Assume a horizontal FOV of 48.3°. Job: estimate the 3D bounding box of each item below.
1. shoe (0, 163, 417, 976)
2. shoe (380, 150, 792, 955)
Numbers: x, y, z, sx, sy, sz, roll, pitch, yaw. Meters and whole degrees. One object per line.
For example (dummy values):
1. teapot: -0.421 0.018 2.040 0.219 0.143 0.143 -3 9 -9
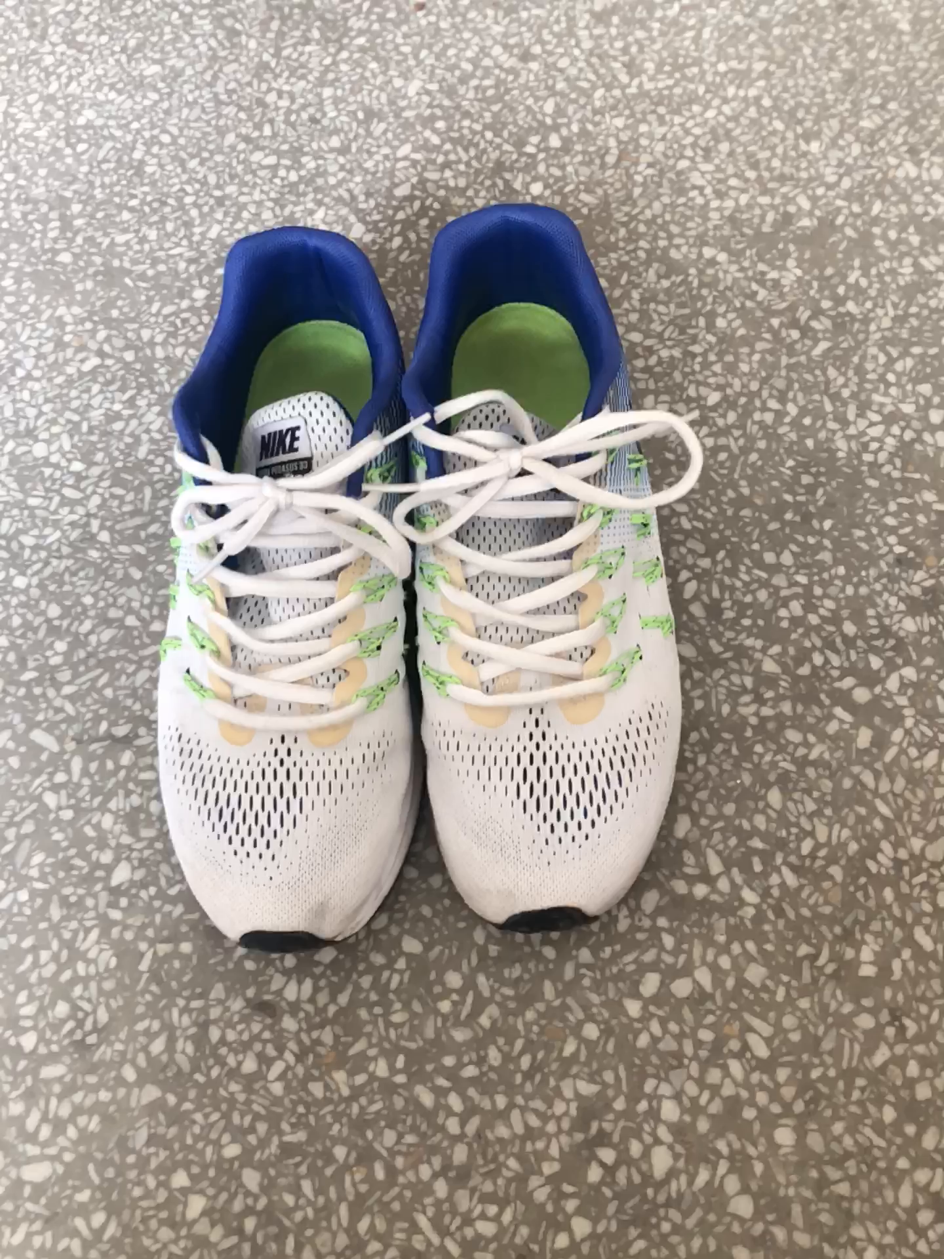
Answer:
1. shoe: -0.083 -0.023 0.399 0.113 0.114 0.282 -2 67 2
2. shoe: 0.029 -0.029 0.397 0.111 0.114 0.275 -3 67 1
